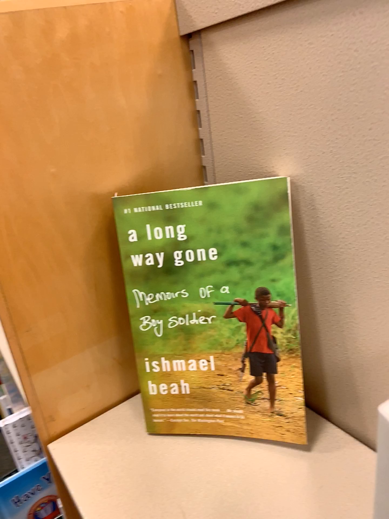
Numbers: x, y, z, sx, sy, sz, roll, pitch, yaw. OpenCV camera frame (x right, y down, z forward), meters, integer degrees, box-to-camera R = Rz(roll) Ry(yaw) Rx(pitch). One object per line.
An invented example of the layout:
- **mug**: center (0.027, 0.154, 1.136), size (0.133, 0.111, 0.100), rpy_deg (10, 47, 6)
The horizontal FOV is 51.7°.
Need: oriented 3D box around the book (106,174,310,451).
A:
- **book**: center (0.013, 0.046, 0.321), size (0.140, 0.210, 0.020), rpy_deg (-3, 11, 18)
